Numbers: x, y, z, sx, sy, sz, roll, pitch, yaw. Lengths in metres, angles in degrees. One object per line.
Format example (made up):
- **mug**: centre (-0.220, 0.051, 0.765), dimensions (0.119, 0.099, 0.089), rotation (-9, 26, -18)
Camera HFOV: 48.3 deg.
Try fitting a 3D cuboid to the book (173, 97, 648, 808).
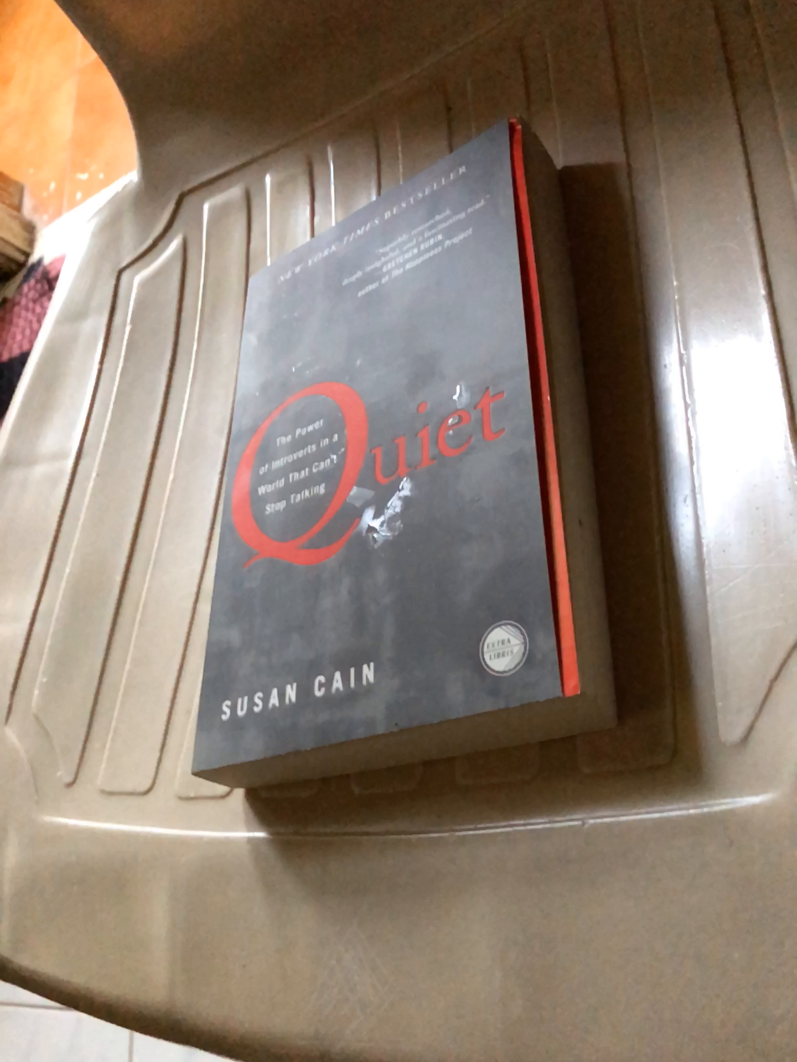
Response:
- **book**: centre (-0.004, -0.026, 0.279), dimensions (0.130, 0.030, 0.200), rotation (-19, 57, 31)
